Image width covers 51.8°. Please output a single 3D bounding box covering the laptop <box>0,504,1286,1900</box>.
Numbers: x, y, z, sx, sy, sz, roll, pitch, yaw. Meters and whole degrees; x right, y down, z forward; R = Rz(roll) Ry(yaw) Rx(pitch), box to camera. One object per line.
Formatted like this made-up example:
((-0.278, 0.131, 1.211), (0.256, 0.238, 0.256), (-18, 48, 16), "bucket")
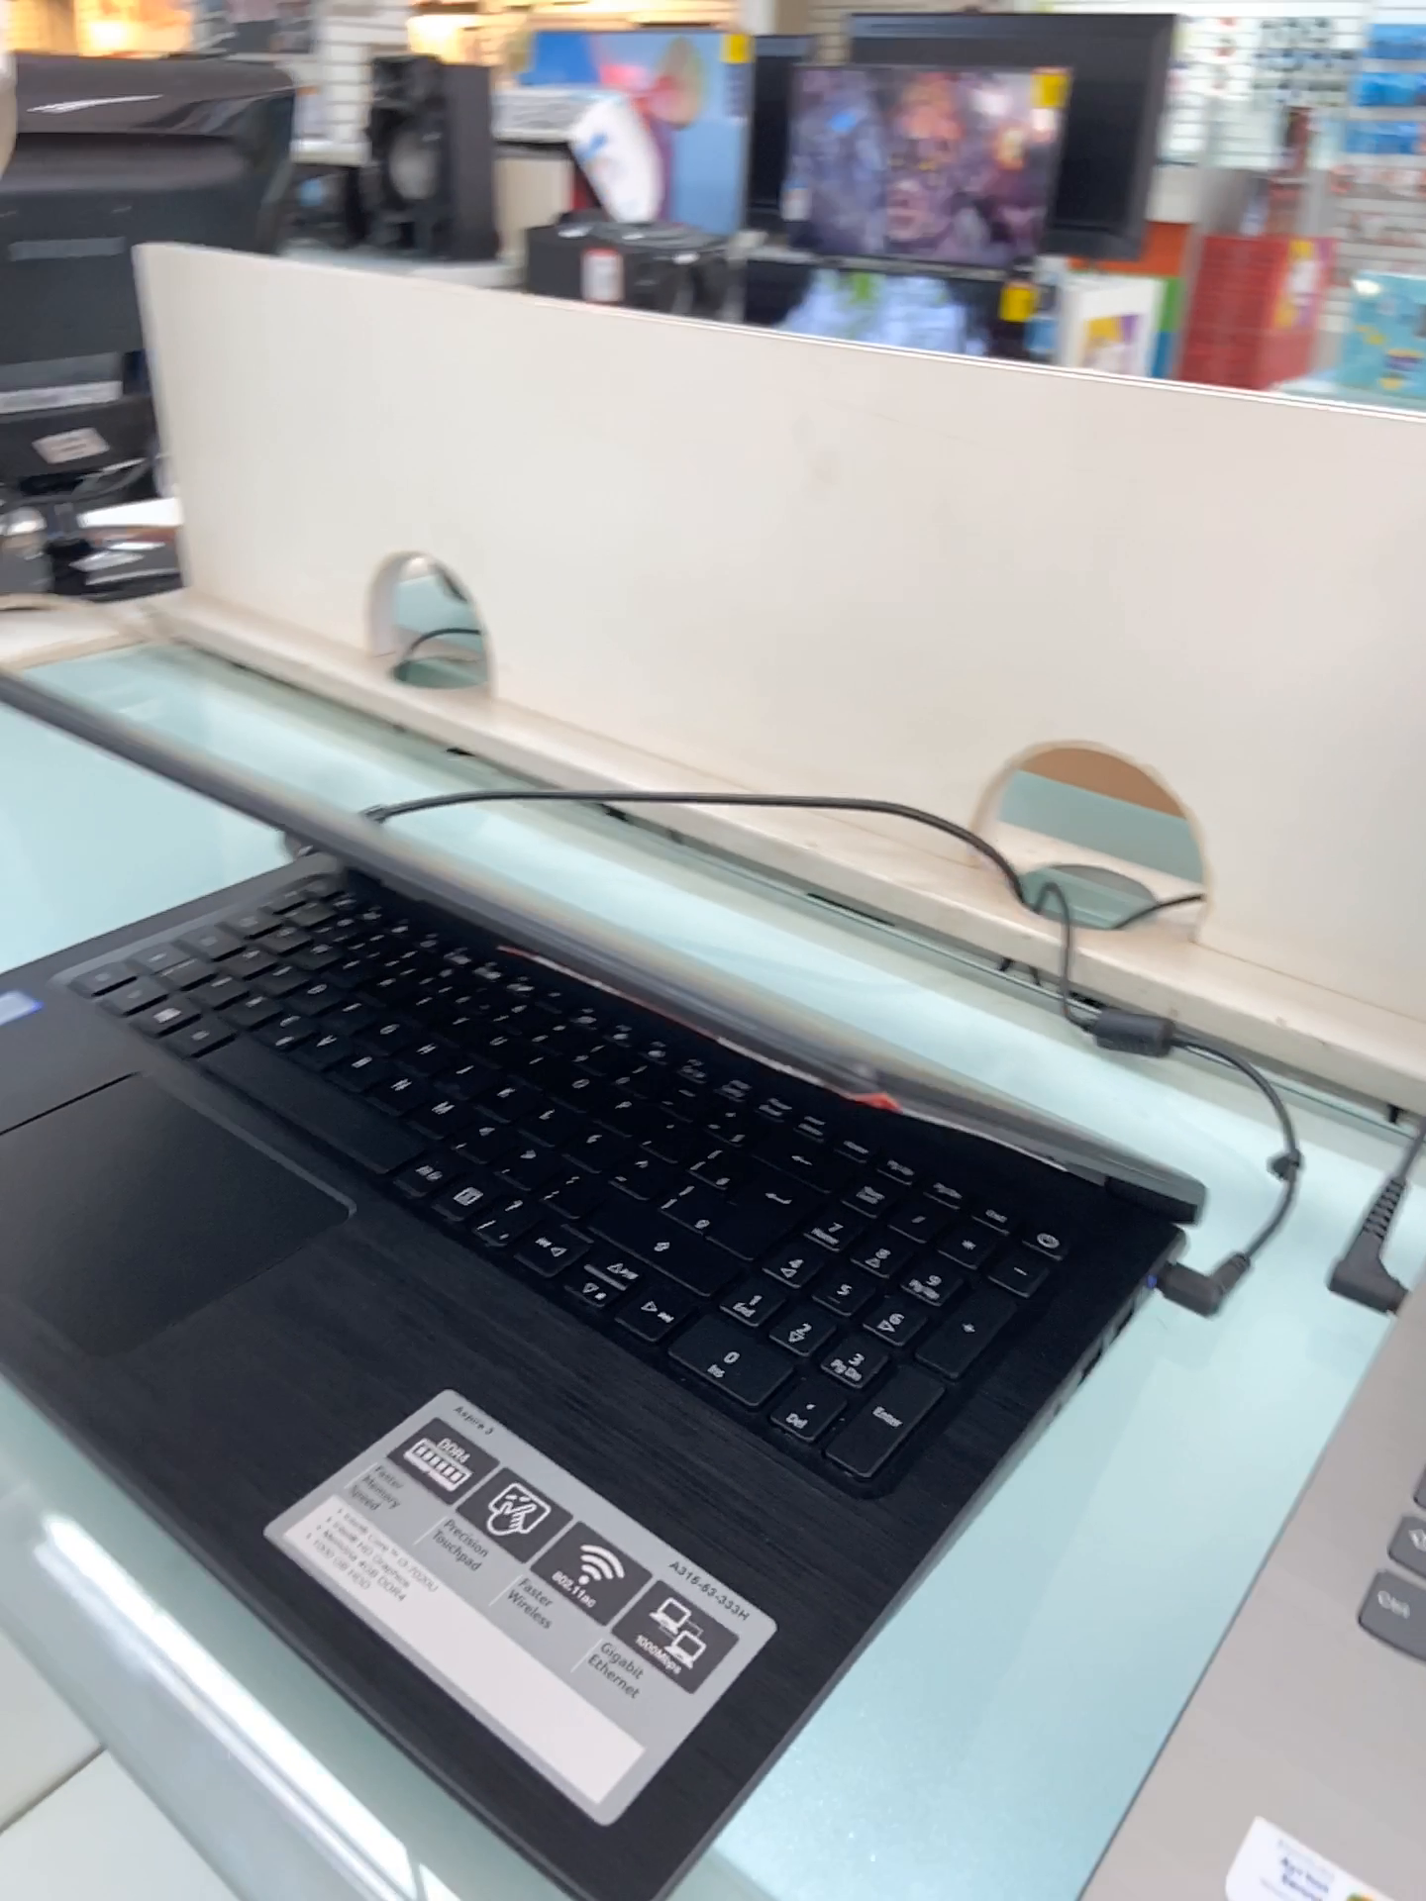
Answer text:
((-0.086, -0.002, 0.389), (0.368, 0.142, 0.233), (22, 34, 33), "laptop")
